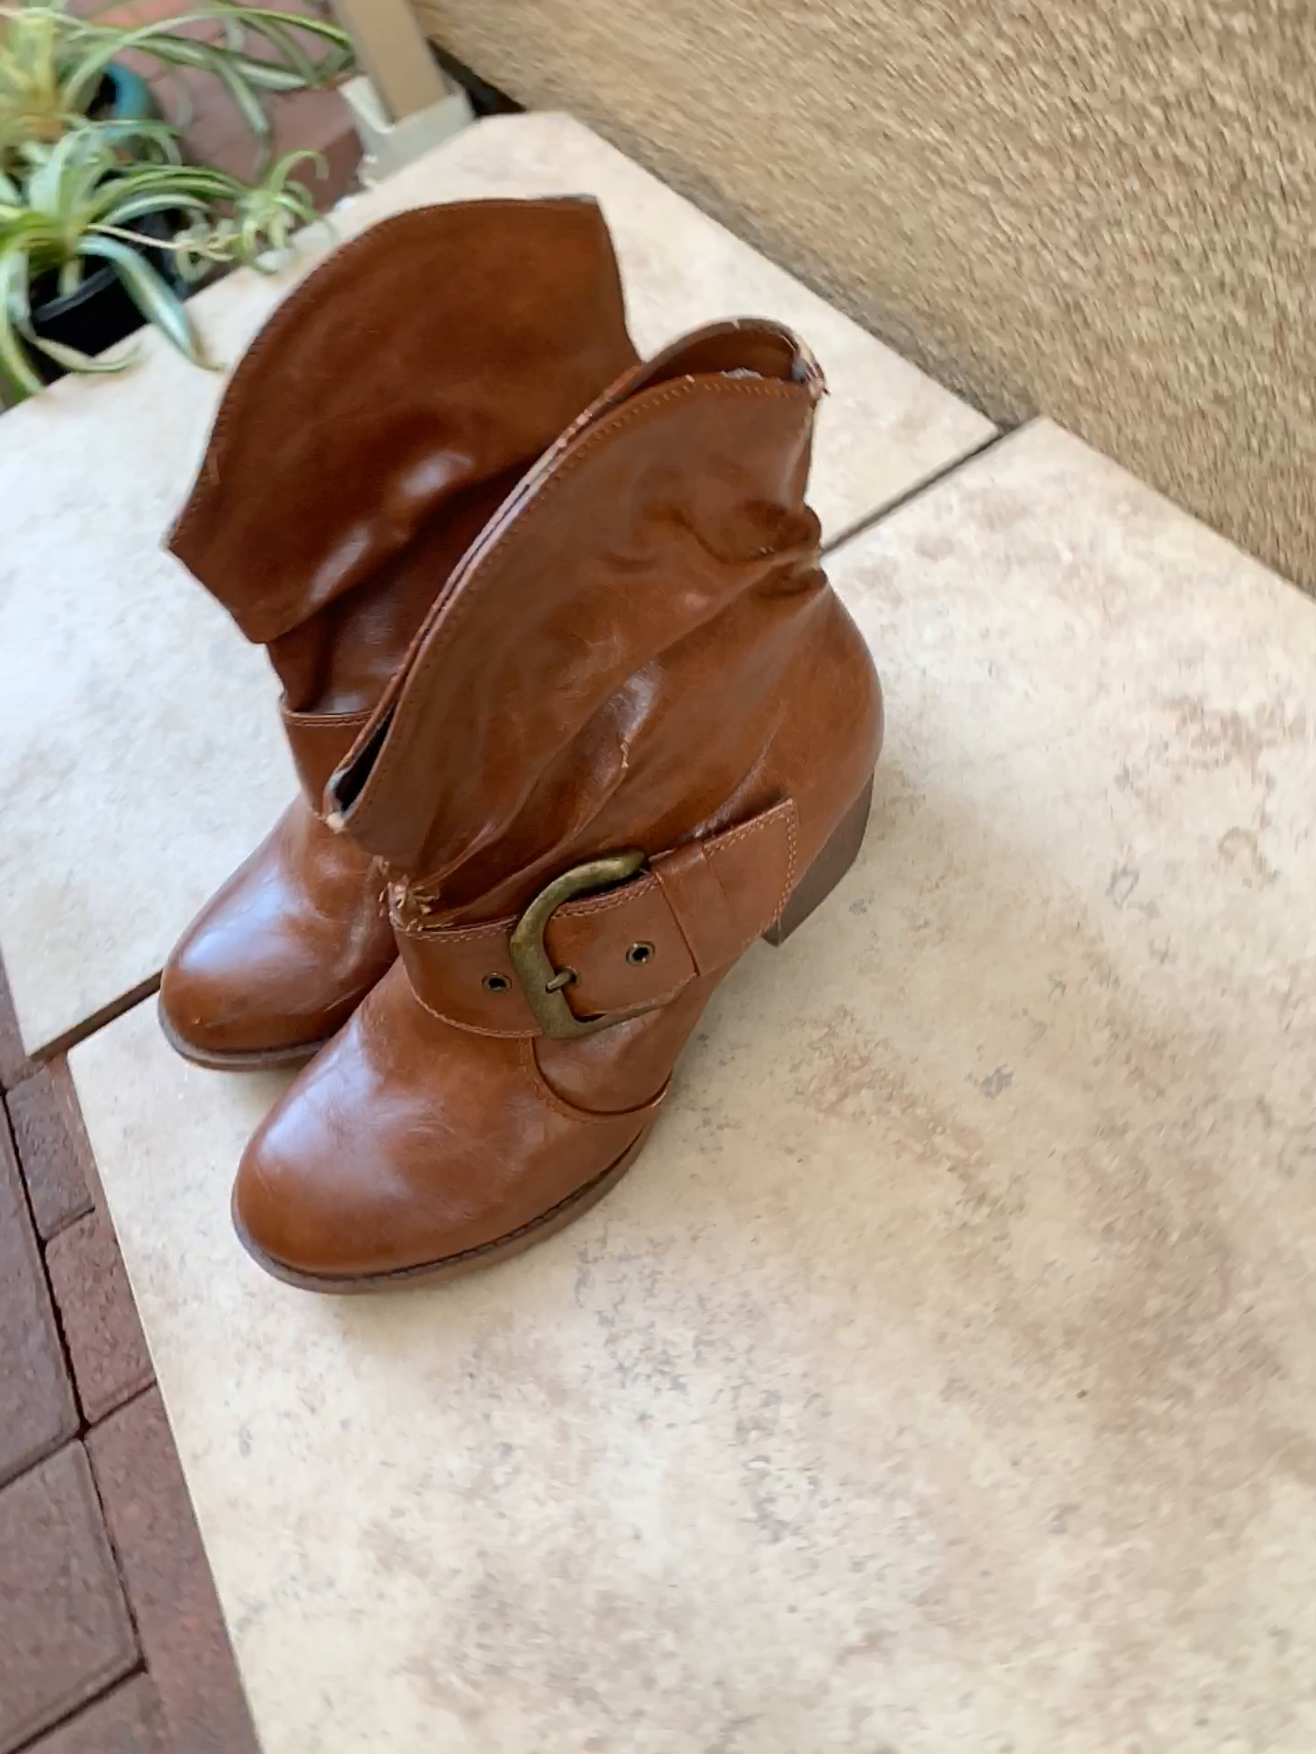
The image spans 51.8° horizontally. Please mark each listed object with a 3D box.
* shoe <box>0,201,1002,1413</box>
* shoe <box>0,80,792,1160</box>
[{"bbox_3d":[-0.051,0.000,0.348,0.244,0.198,0.101,-35,53,-4],"label":"shoe"},{"bbox_3d":[-0.104,-0.063,0.409,0.244,0.198,0.096,-39,53,-7],"label":"shoe"}]
